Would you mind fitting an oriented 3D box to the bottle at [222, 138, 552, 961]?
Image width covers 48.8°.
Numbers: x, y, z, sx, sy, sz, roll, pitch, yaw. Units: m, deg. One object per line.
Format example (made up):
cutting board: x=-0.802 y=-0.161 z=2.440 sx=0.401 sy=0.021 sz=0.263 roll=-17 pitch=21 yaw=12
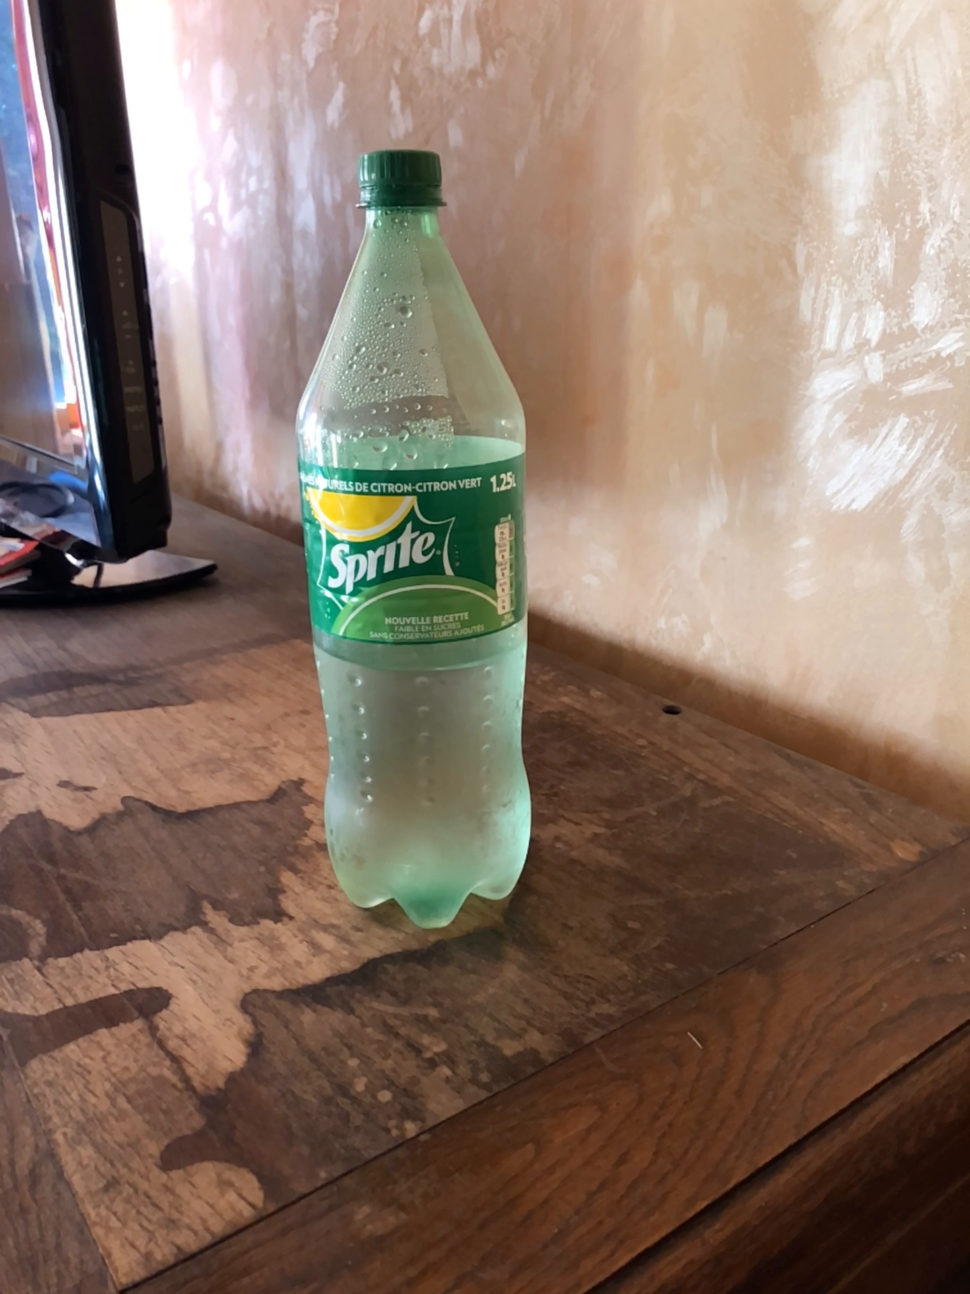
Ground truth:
bottle: x=-0.027 y=-0.032 z=0.402 sx=0.090 sy=0.279 sz=0.090 roll=0 pitch=19 yaw=0
